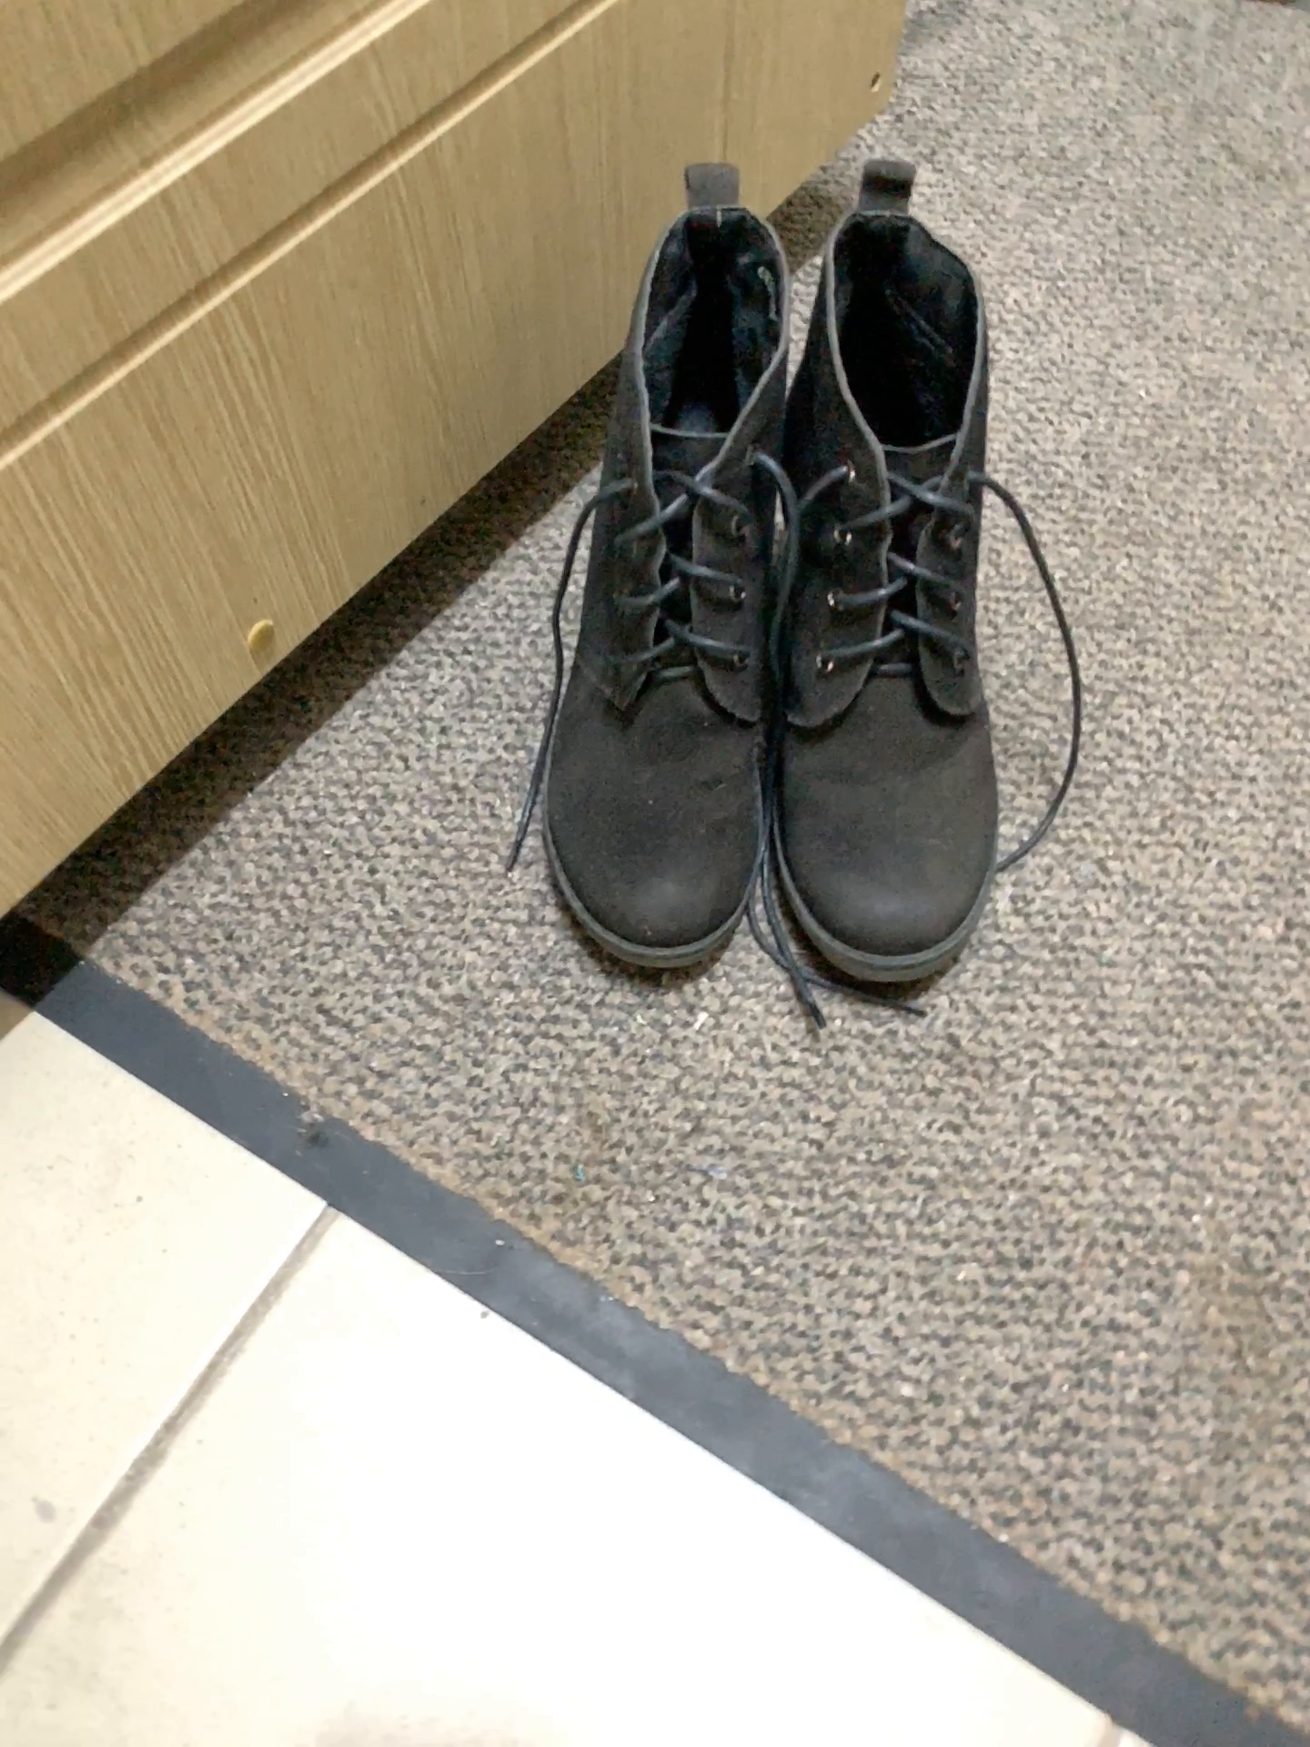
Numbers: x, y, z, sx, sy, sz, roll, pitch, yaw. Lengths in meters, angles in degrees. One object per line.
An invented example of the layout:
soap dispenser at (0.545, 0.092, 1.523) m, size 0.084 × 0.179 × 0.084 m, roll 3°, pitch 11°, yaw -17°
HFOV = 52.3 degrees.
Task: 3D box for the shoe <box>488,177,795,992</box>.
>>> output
shoe at (0.001, -0.096, 0.470) m, size 0.080 × 0.160 × 0.230 m, roll 2°, pitch 63°, yaw 1°

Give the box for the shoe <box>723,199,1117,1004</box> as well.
shoe at (0.077, -0.092, 0.477) m, size 0.080 × 0.160 × 0.230 m, roll -3°, pitch 63°, yaw -1°
